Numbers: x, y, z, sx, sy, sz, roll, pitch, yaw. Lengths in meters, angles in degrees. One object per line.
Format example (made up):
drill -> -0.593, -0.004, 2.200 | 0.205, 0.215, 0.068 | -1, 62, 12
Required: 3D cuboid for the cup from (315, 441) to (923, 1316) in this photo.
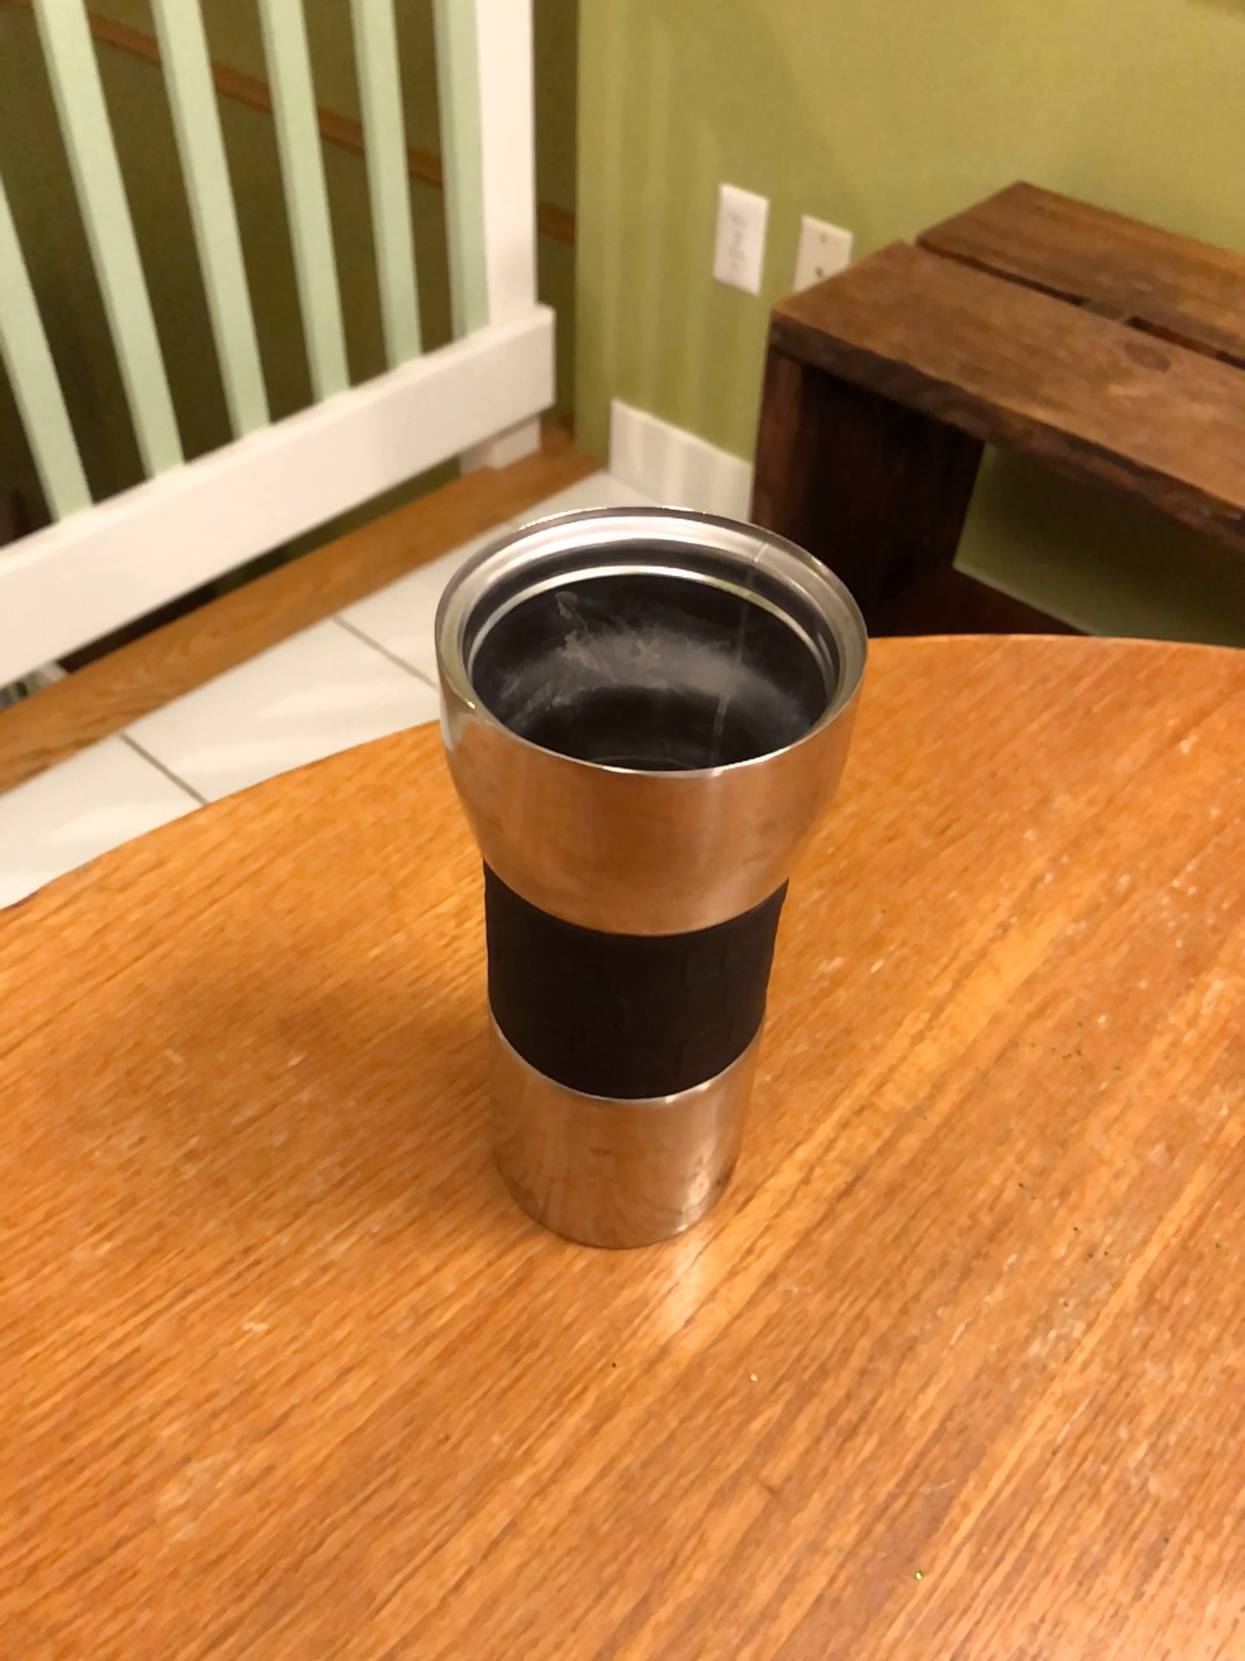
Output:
cup -> -0.001, 0.018, 0.322 | 0.083, 0.173, 0.088 | 2, 45, -2
